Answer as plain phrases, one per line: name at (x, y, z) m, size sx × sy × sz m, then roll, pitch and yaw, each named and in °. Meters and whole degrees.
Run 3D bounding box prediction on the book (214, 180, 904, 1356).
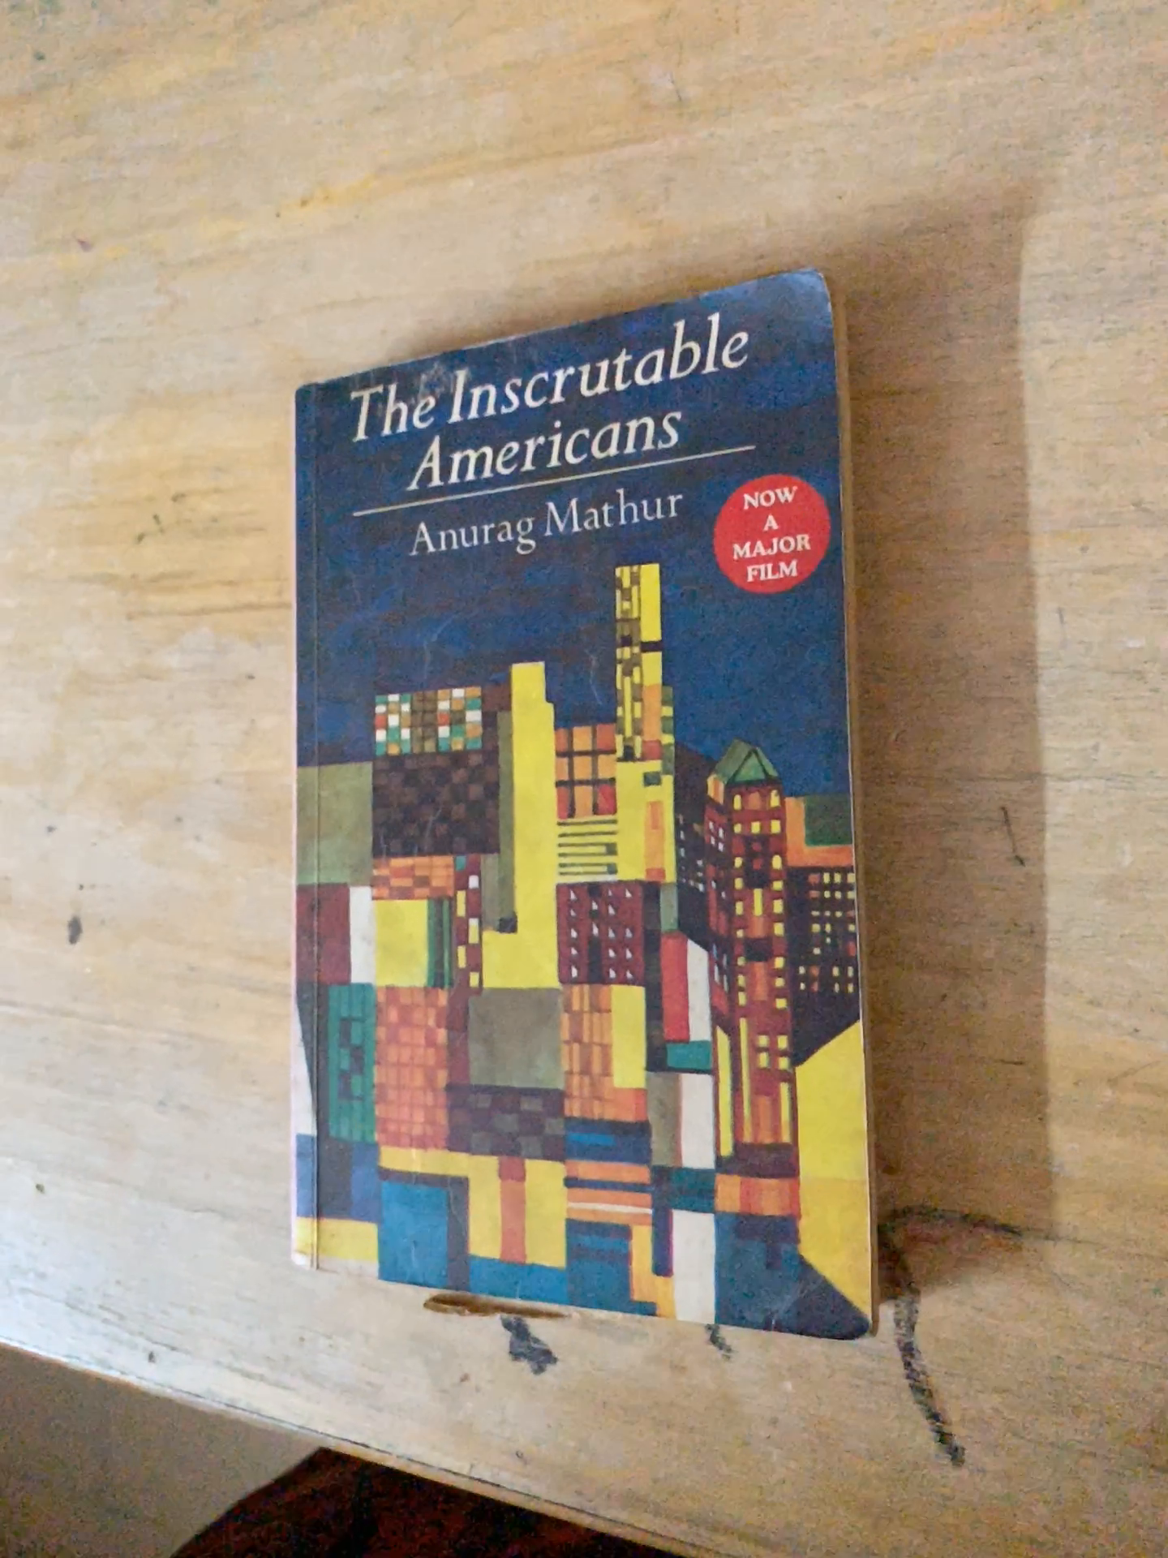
book at (-0.009, -0.001, 0.224) m, size 0.120 × 0.030 × 0.180 m, roll -3°, pitch 85°, yaw 23°
